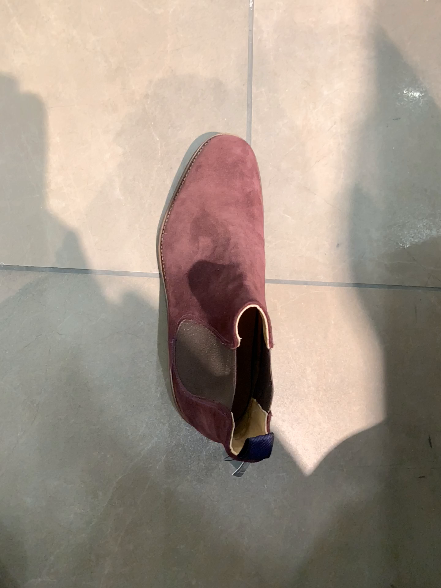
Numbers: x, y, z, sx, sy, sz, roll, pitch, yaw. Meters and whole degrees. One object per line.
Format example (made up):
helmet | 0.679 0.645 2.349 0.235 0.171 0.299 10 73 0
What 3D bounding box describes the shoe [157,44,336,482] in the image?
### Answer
shoe | 0.007 -0.020 0.392 0.114 0.162 0.297 1 84 -11
